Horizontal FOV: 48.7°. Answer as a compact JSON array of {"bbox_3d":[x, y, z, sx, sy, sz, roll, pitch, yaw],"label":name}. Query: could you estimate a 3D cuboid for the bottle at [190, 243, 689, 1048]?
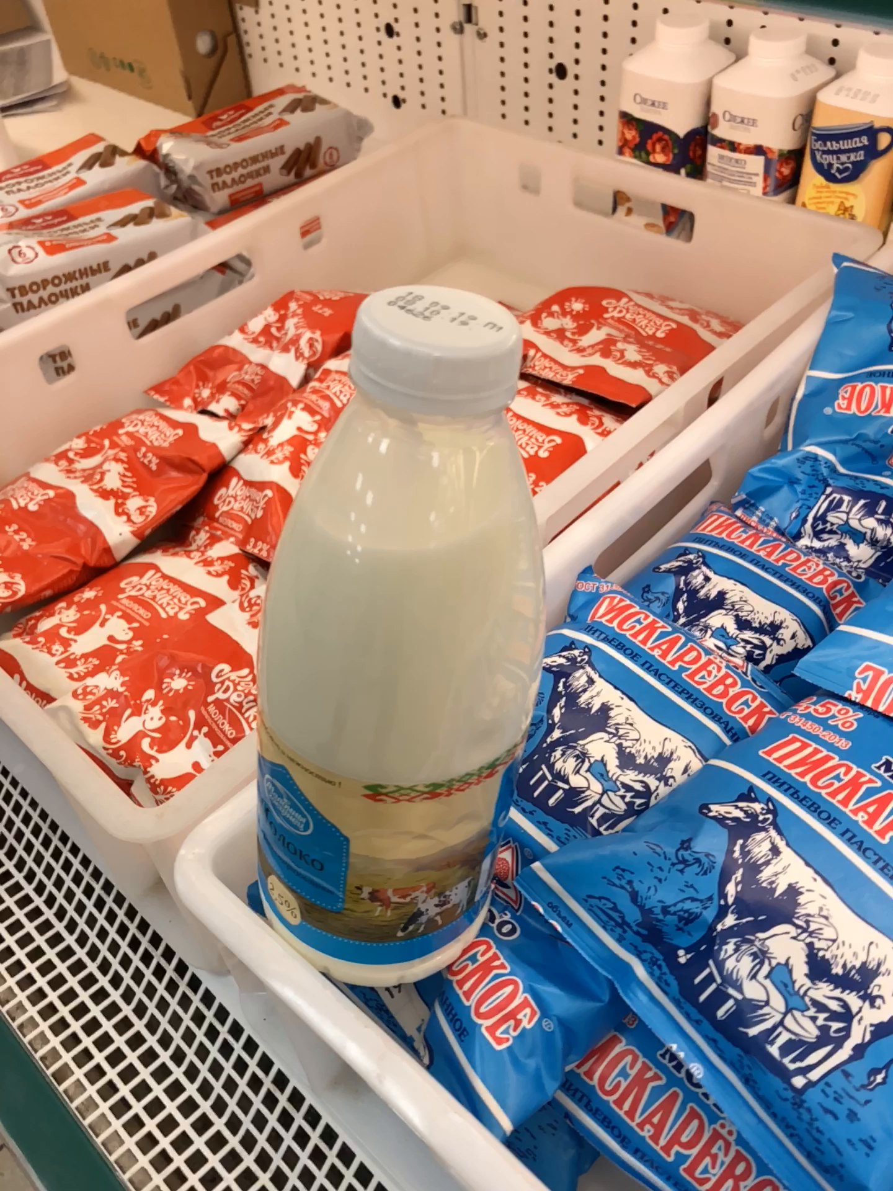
[{"bbox_3d":[-0.015,0.022,0.315,0.090,0.229,0.090,5,35,-4],"label":"bottle"}]
